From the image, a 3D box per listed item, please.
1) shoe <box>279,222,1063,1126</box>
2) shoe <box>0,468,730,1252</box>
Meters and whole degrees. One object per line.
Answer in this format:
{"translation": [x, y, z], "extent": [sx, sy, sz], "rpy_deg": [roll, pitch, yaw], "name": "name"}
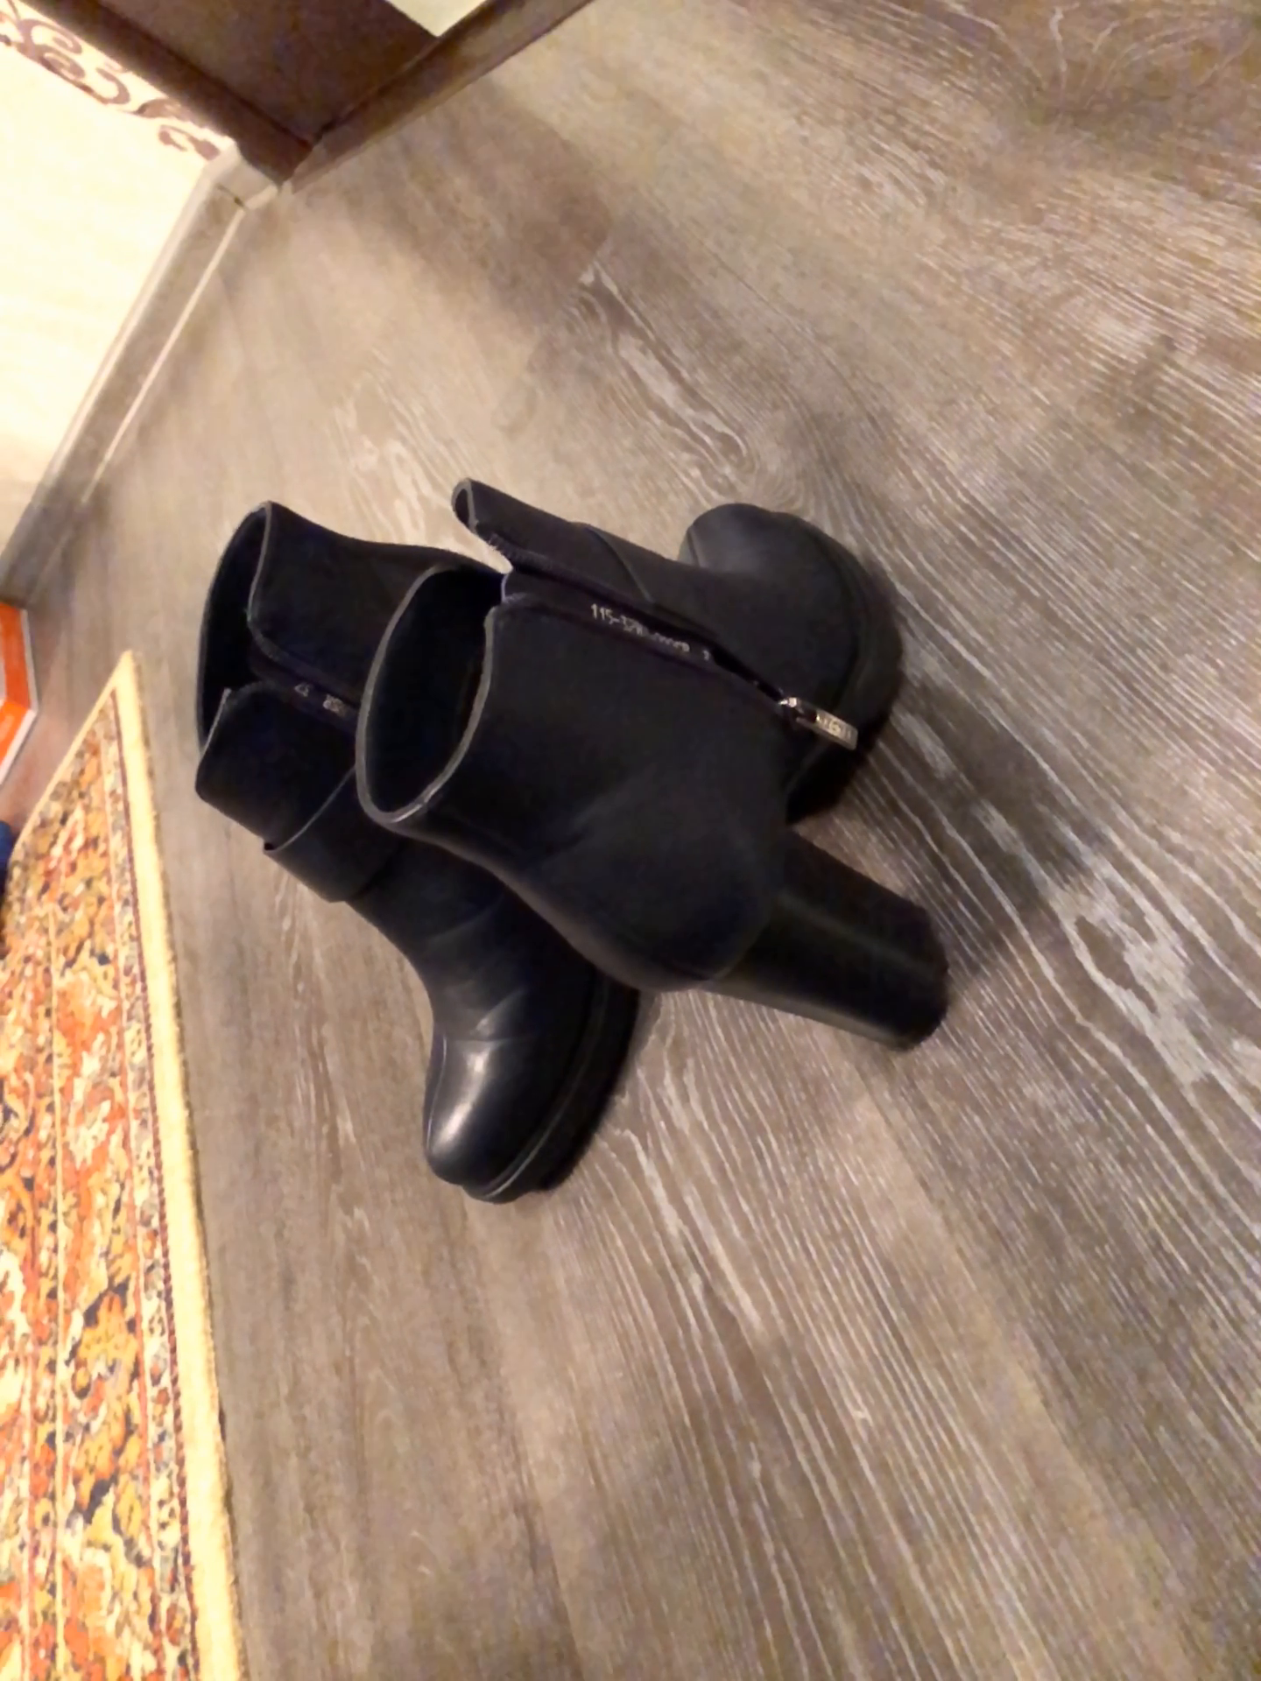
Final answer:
{"translation": [0.003, -0.047, 0.421], "extent": [0.090, 0.189, 0.211], "rpy_deg": [-42, 42, 33], "name": "shoe"}
{"translation": [-0.088, 0.016, 0.495], "extent": [0.090, 0.189, 0.210], "rpy_deg": [0, 71, 54], "name": "shoe"}
